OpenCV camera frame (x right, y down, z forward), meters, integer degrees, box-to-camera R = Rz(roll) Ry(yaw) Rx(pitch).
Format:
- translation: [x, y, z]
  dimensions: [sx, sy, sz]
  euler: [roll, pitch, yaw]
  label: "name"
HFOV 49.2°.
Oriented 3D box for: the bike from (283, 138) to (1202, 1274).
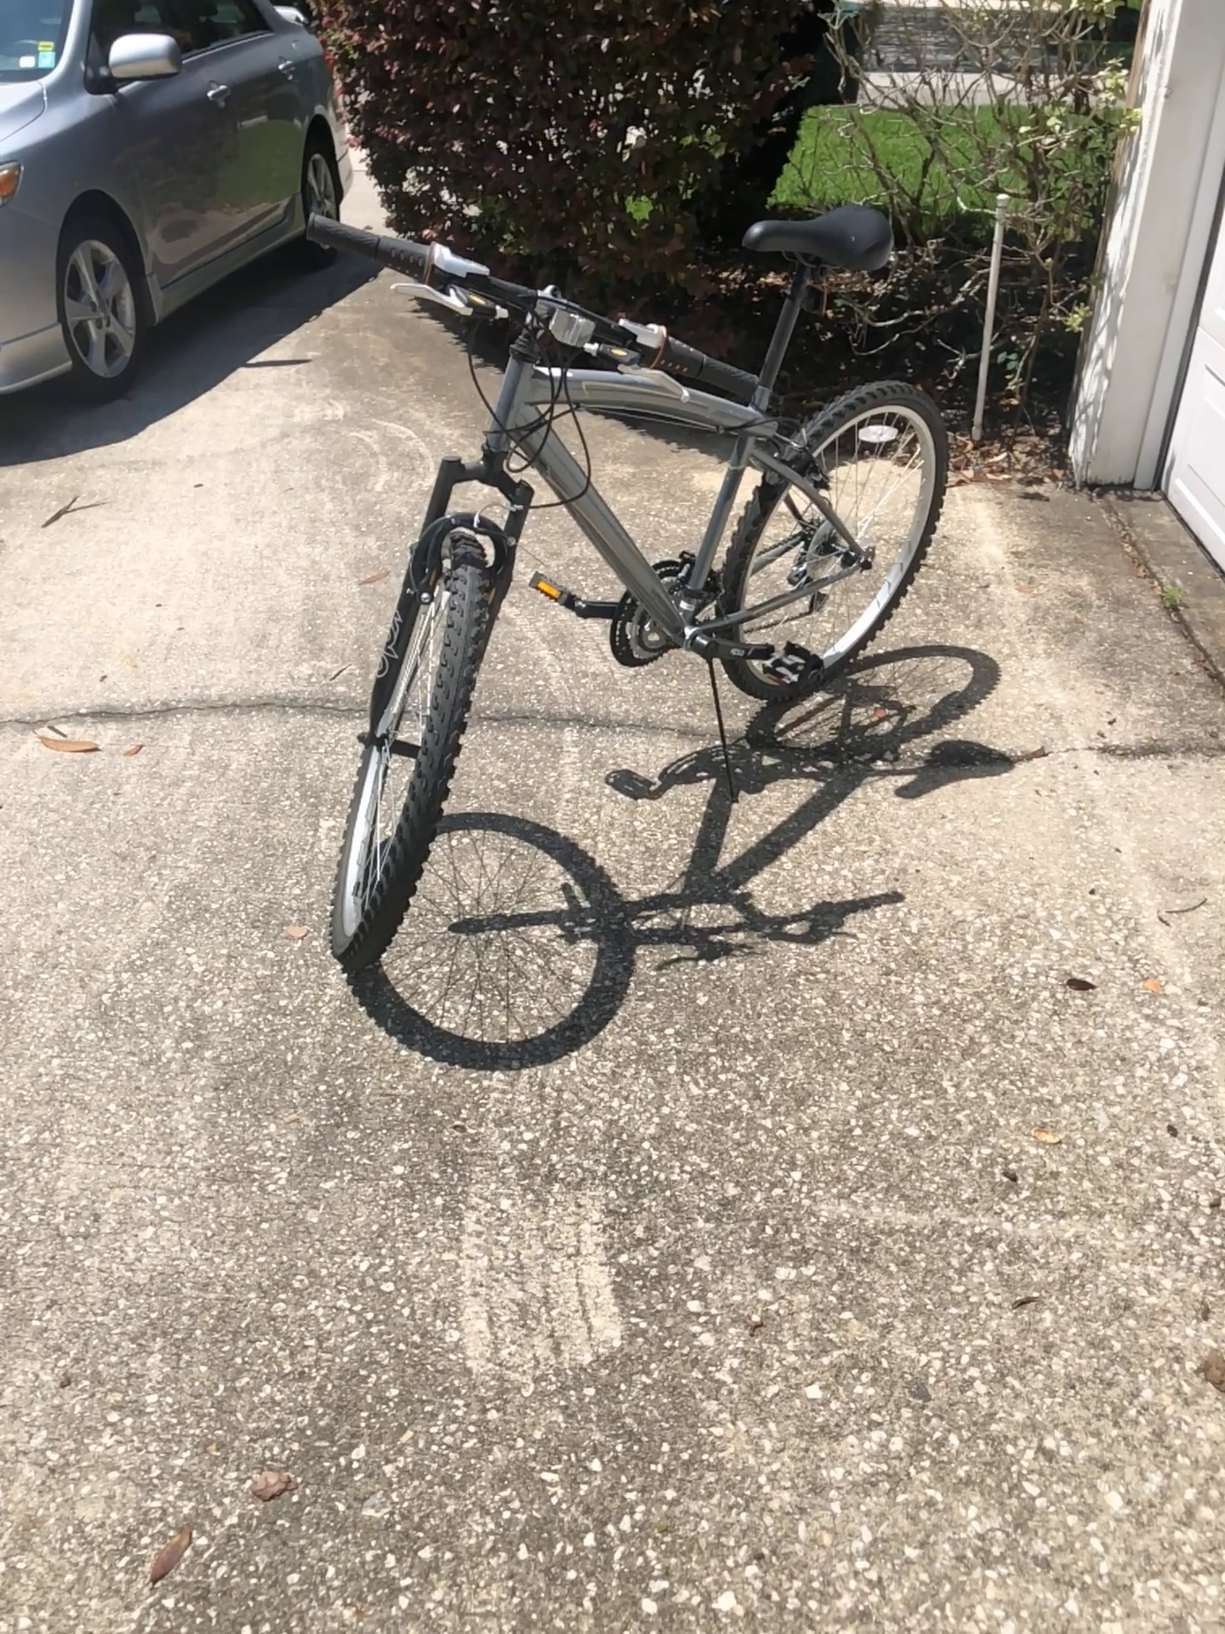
- translation: [0.281, -0.373, 2.110]
  dimensions: [0.681, 0.980, 1.536]
  euler: [21, 40, 30]
  label: "bike"
